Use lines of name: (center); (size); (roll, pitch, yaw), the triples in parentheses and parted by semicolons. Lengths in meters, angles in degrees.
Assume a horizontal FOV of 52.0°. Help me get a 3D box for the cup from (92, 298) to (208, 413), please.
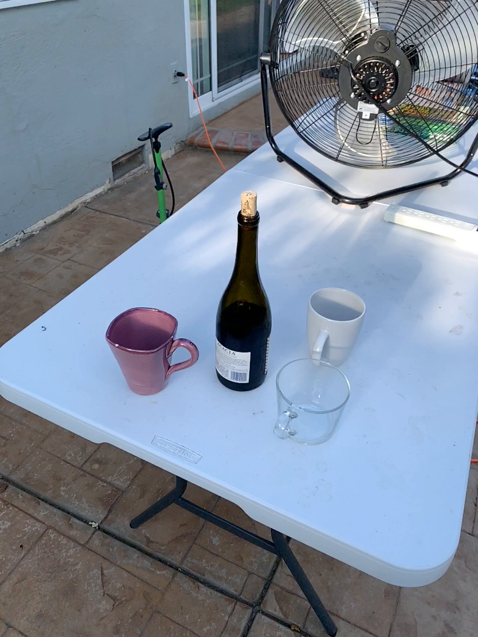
cup: (-0.127, 0.053, 0.735); (0.130, 0.099, 0.100); (15, 41, 17)

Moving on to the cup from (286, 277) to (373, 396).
cup: (0.146, 0.026, 0.797); (0.090, 0.119, 0.131); (17, 41, 19)

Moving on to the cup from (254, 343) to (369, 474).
cup: (0.100, 0.119, 0.675); (0.100, 0.080, 0.130); (24, 44, 26)
